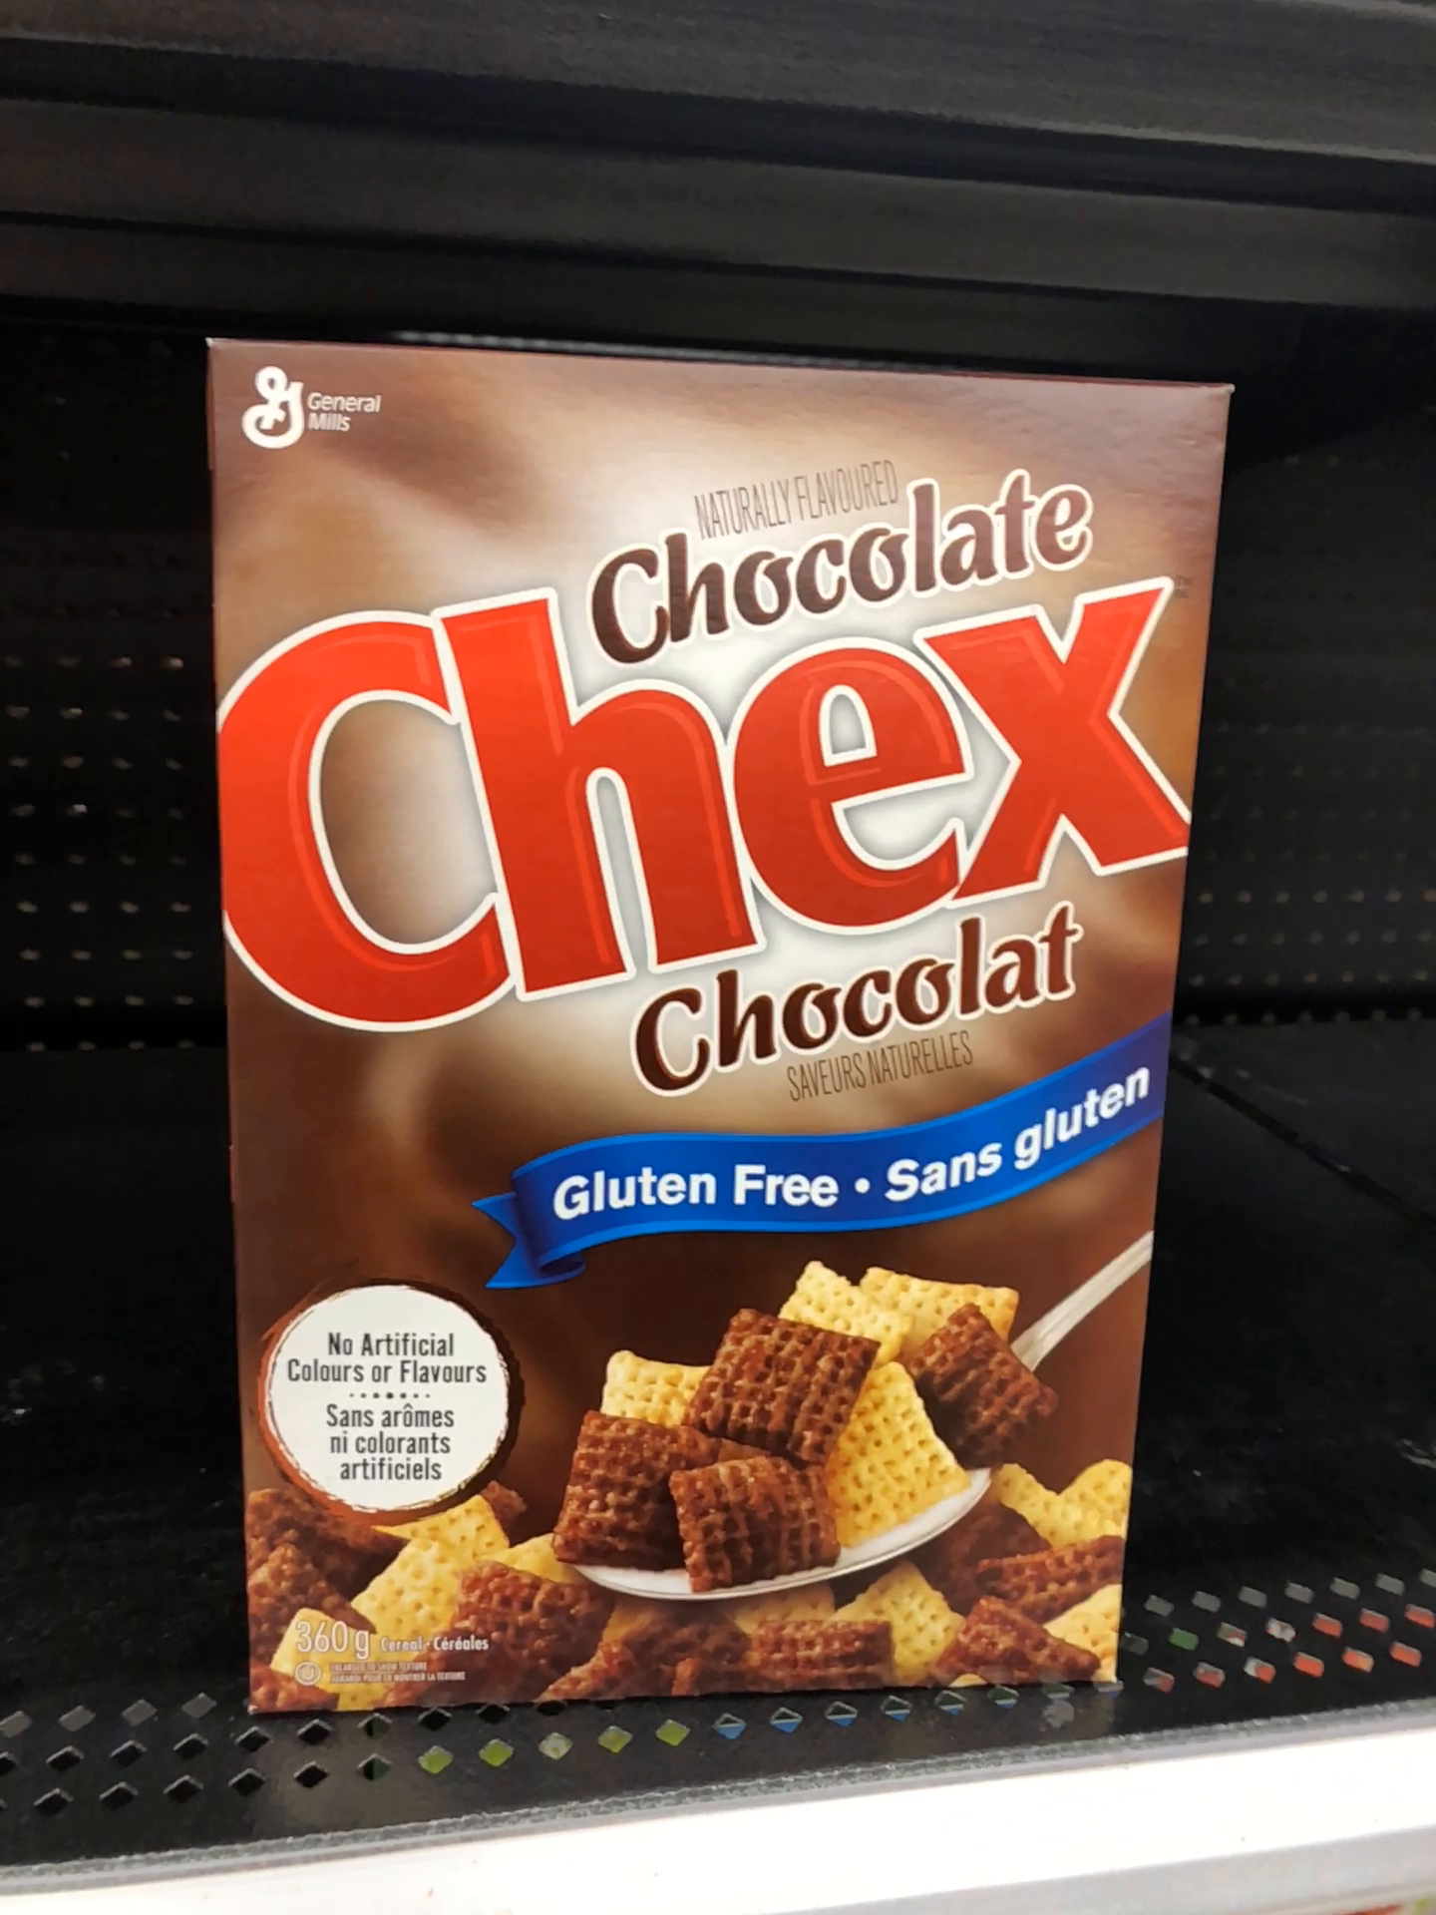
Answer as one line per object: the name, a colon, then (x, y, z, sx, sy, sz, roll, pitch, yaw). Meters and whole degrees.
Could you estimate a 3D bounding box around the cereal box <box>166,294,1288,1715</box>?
cereal box: (-0.002, 0.018, 0.337, 0.200, 0.279, 0.050, 1, 13, -5)
